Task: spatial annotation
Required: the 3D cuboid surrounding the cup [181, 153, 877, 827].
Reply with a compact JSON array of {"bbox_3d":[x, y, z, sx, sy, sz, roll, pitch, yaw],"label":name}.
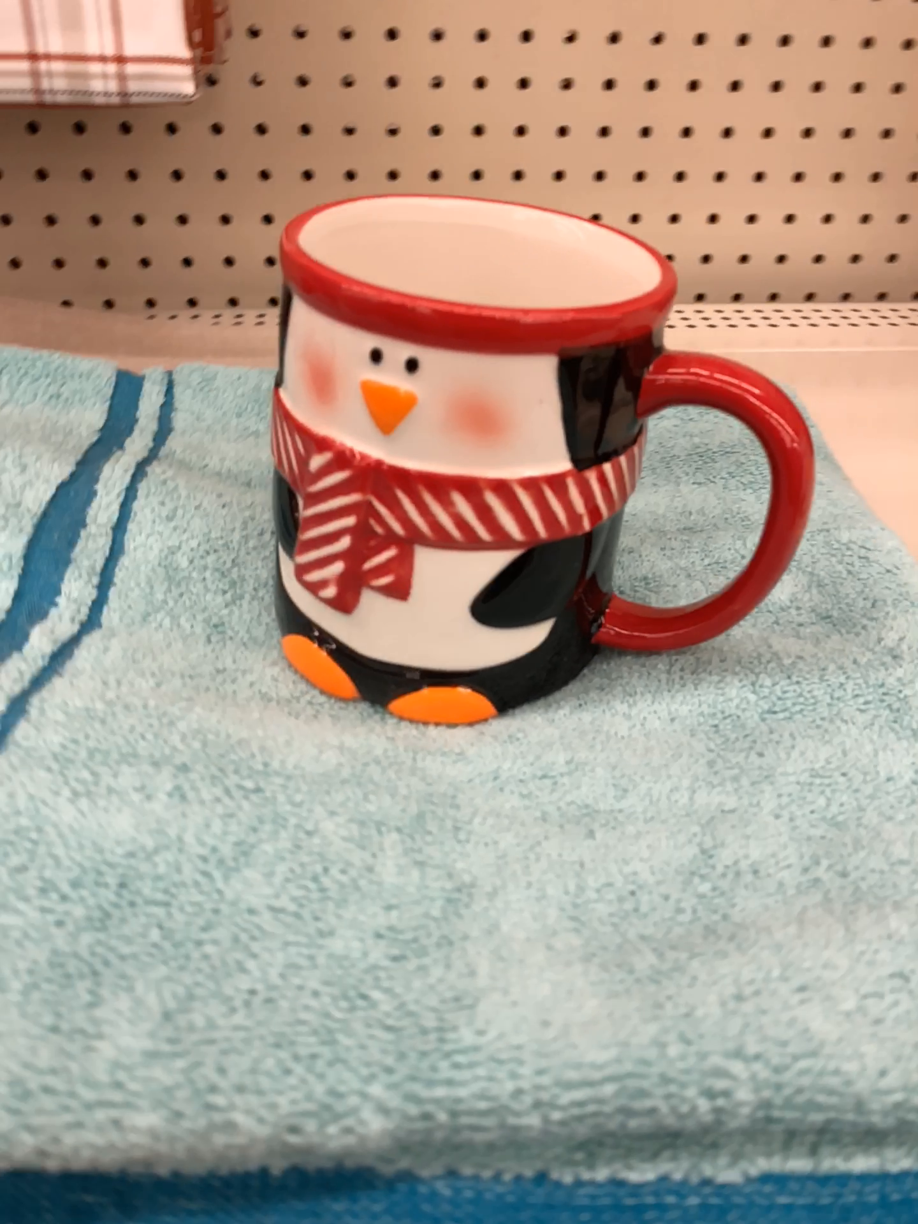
[{"bbox_3d":[0.017,-0.037,0.250,0.130,0.110,0.090,16,35,14],"label":"cup"}]
